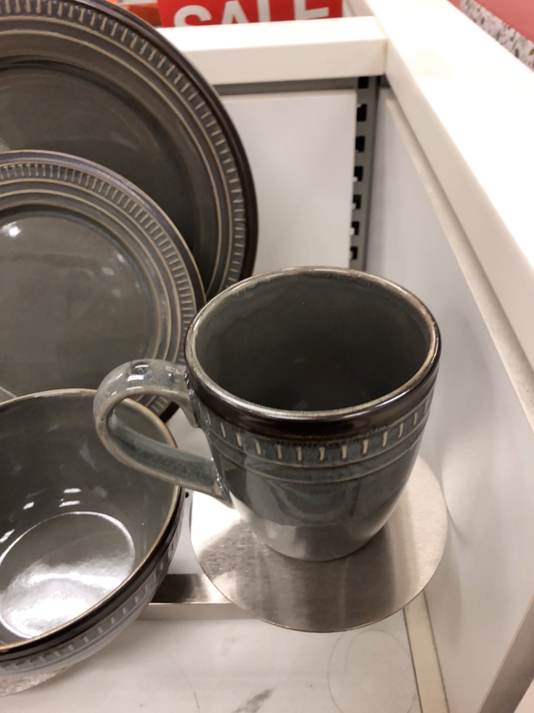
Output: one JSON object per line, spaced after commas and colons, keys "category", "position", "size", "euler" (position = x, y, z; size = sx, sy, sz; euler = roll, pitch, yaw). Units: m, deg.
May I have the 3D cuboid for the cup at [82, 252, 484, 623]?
{"category": "cup", "position": [0.002, 0.032, 0.252], "size": [0.126, 0.106, 0.089], "euler": [-8, 39, -5]}
